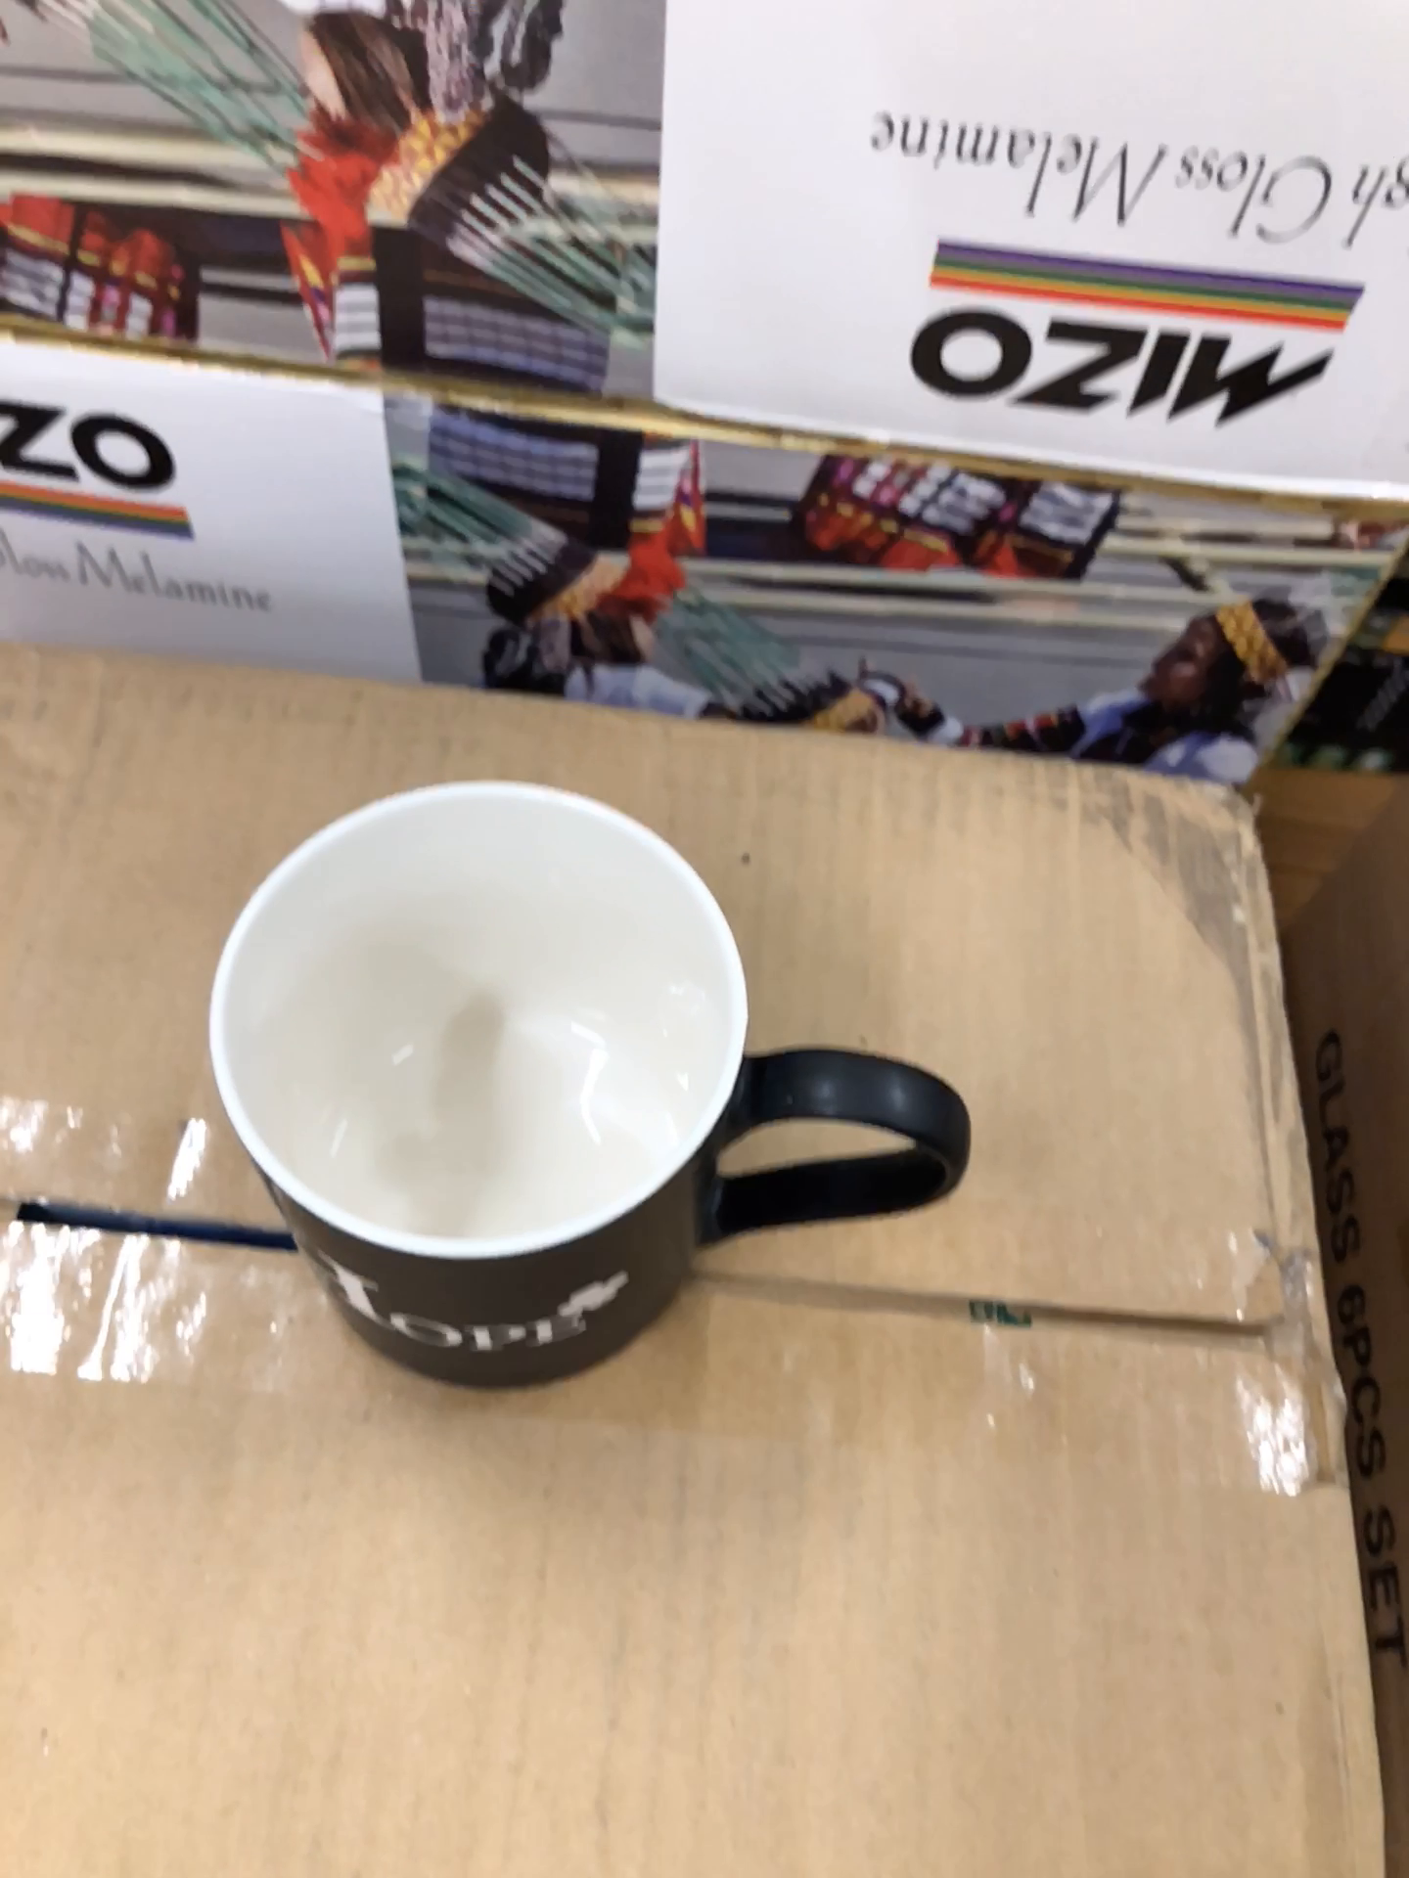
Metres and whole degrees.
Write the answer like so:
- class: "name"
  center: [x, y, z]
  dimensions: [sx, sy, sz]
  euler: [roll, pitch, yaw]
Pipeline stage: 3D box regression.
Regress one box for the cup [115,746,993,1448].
- class: "cup"
  center: [-0.022, 0.033, 0.277]
  dimensions: [0.120, 0.090, 0.090]
  euler: [3, 61, -3]
